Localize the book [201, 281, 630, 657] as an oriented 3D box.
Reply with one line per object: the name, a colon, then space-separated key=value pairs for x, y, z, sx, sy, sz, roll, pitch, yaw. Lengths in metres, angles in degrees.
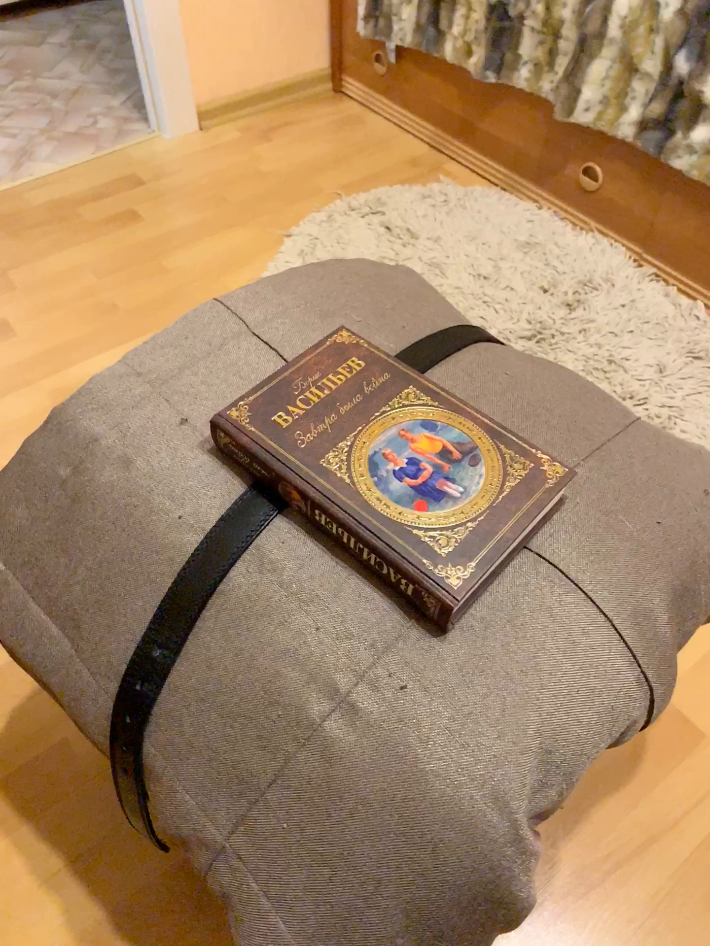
book: x=0.033 y=-0.016 z=0.457 sx=0.221 sy=0.050 sz=0.141 roll=38 pitch=60 yaw=20
